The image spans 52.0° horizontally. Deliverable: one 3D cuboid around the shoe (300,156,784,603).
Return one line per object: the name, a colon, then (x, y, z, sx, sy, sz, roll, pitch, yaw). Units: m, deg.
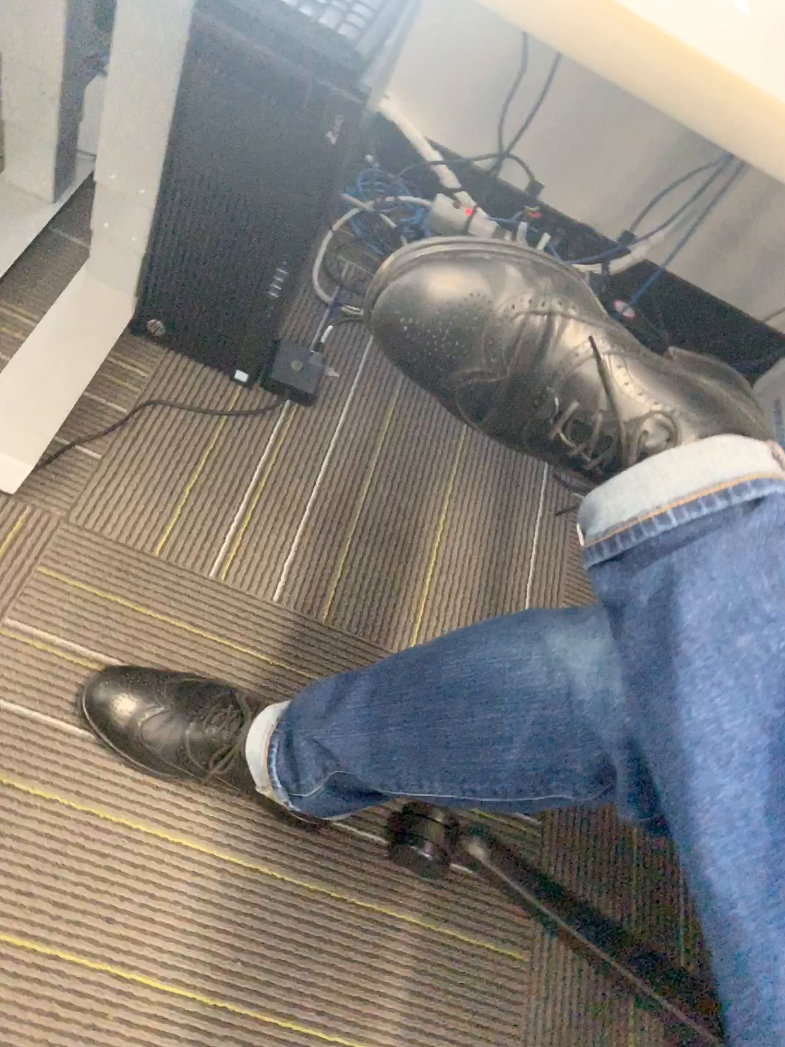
shoe: (0.104, -0.069, 0.444, 0.273, 0.111, 0.092, 23, 49, -11)

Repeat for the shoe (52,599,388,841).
shoe: (-0.159, 0.190, 0.757, 0.273, 0.104, 0.112, 23, 53, -11)
